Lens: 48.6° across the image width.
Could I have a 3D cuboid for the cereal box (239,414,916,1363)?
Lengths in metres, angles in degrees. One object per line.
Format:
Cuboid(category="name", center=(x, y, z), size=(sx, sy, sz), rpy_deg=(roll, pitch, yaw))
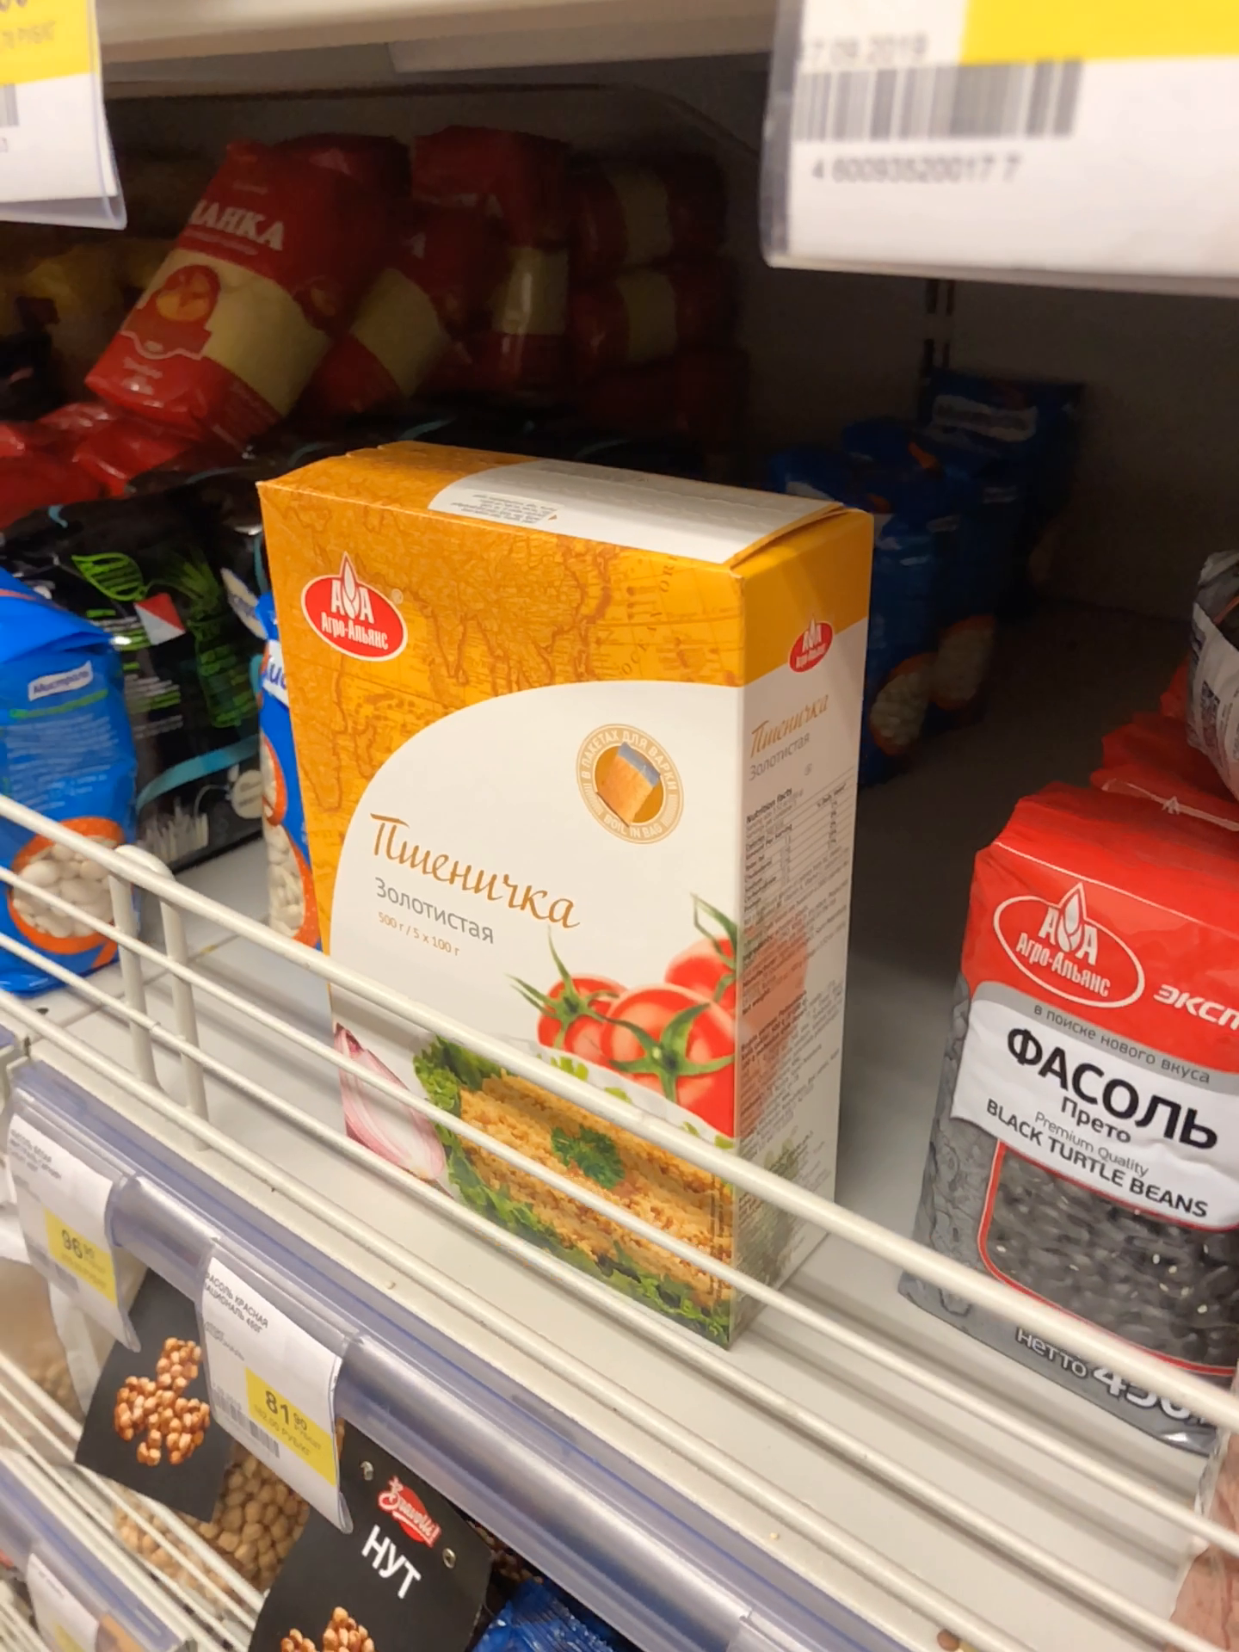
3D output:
Cuboid(category="cereal box", center=(-0.010, 0.010, 0.342), size=(0.140, 0.199, 0.060), rpy_deg=(17, 32, 33))
